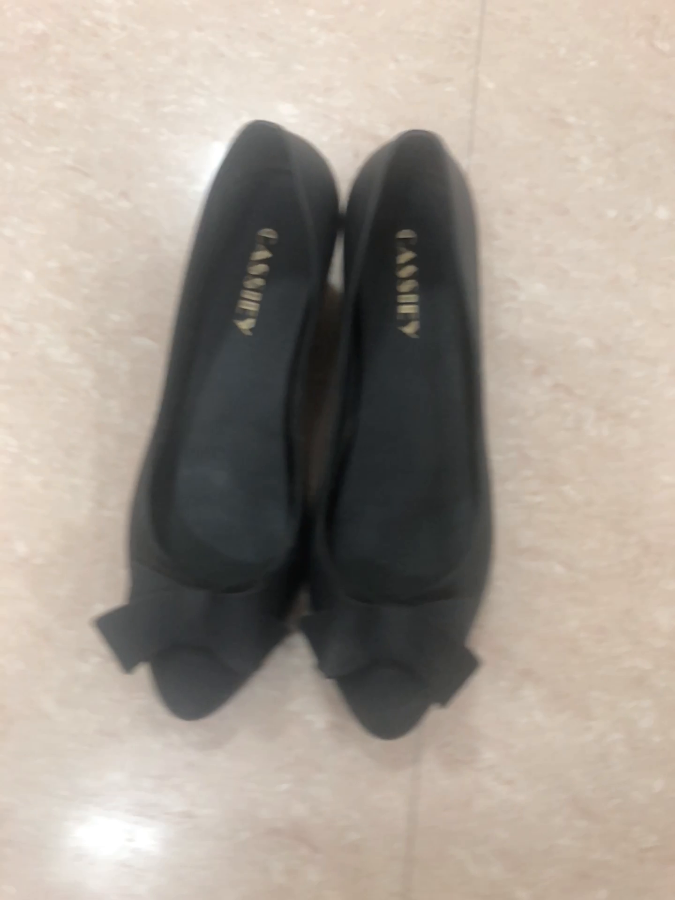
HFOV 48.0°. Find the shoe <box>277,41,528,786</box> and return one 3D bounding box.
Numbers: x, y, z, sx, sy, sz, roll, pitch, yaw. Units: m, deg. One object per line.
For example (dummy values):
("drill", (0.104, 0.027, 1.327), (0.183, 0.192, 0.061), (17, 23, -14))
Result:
("shoe", (0.031, -0.020, 0.358), (0.090, 0.090, 0.310), (3, 81, 1))

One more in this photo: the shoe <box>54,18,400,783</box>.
("shoe", (-0.039, -0.026, 0.354), (0.090, 0.090, 0.310), (8, 81, 2))
